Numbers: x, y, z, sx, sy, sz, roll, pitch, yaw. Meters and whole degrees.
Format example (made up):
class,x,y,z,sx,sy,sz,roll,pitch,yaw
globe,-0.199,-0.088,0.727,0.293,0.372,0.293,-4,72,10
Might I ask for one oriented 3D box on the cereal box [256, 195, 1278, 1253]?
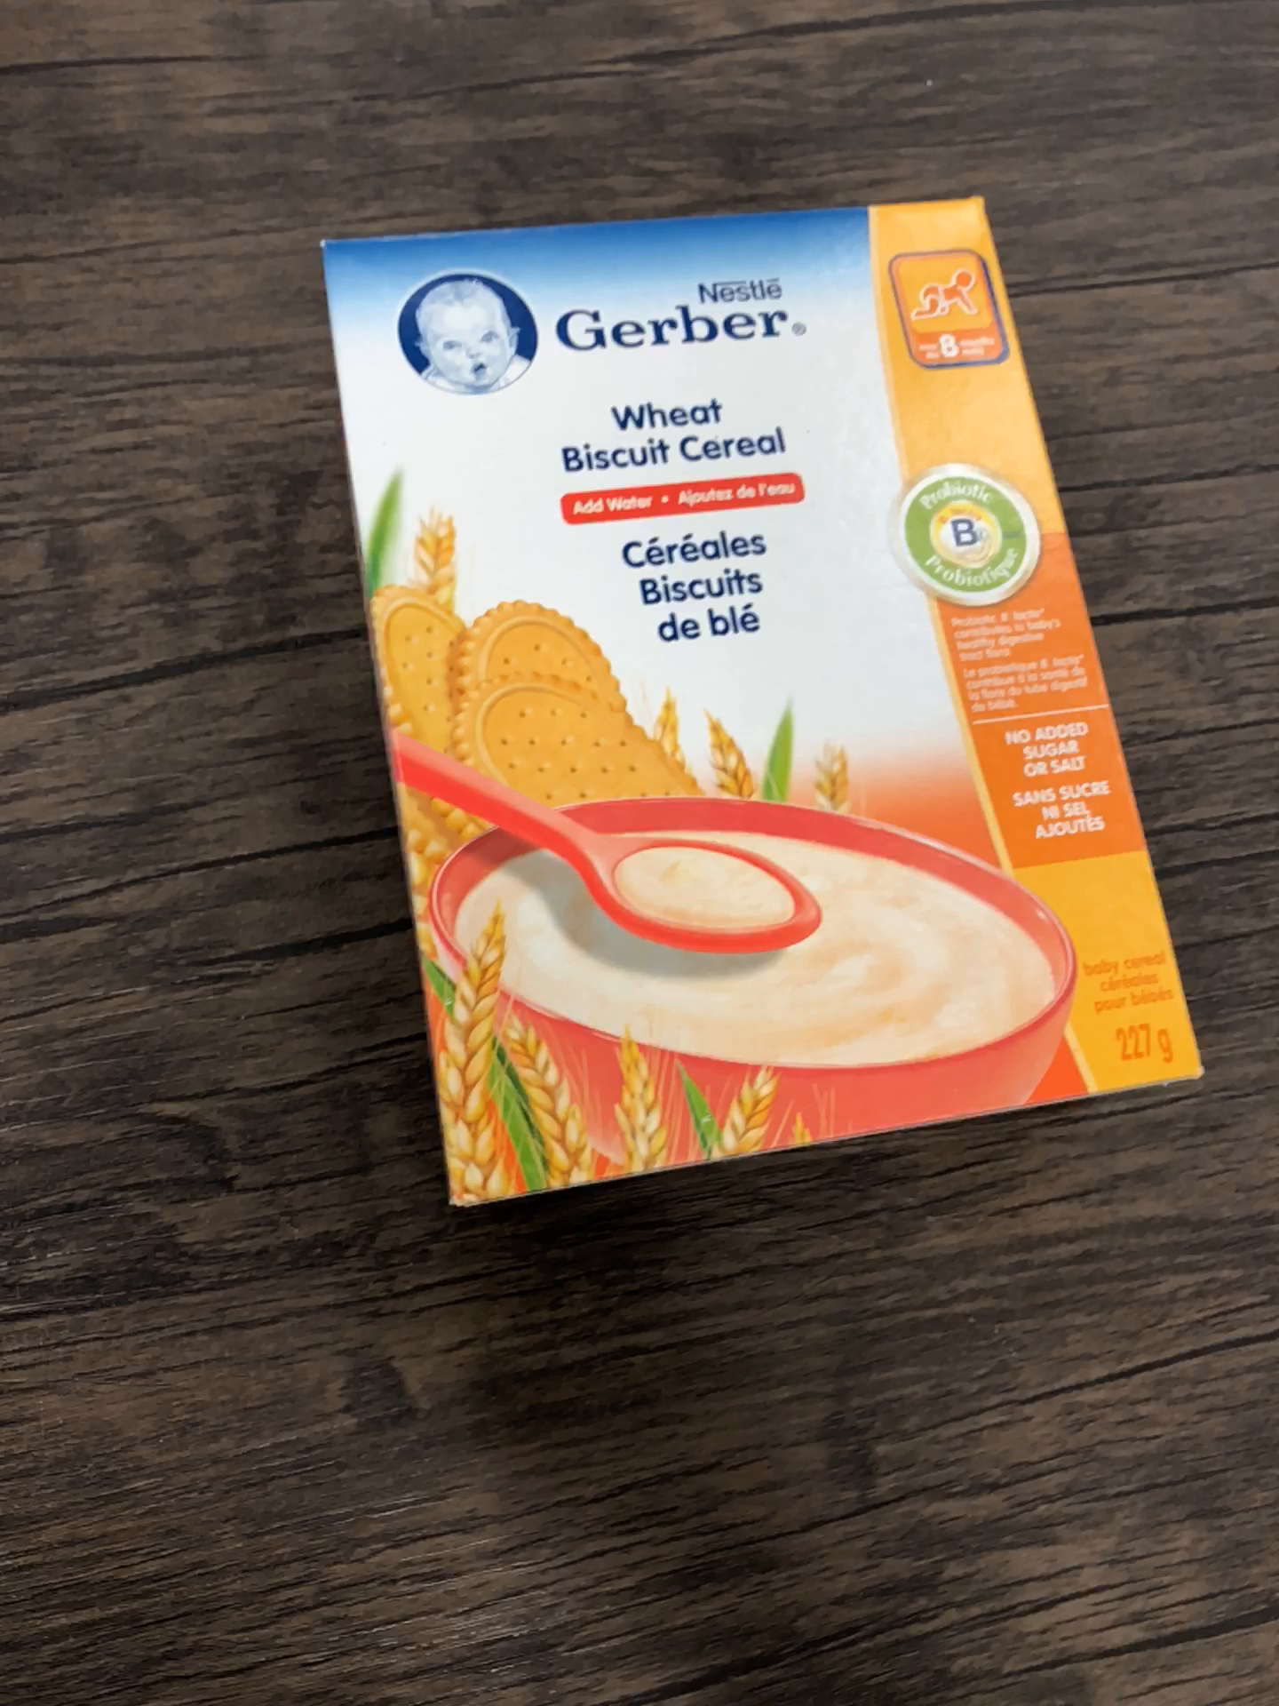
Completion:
class,x,y,z,sx,sy,sz,roll,pitch,yaw
cereal box,0.020,-0.030,0.275,0.160,0.040,0.180,-8,78,-9
